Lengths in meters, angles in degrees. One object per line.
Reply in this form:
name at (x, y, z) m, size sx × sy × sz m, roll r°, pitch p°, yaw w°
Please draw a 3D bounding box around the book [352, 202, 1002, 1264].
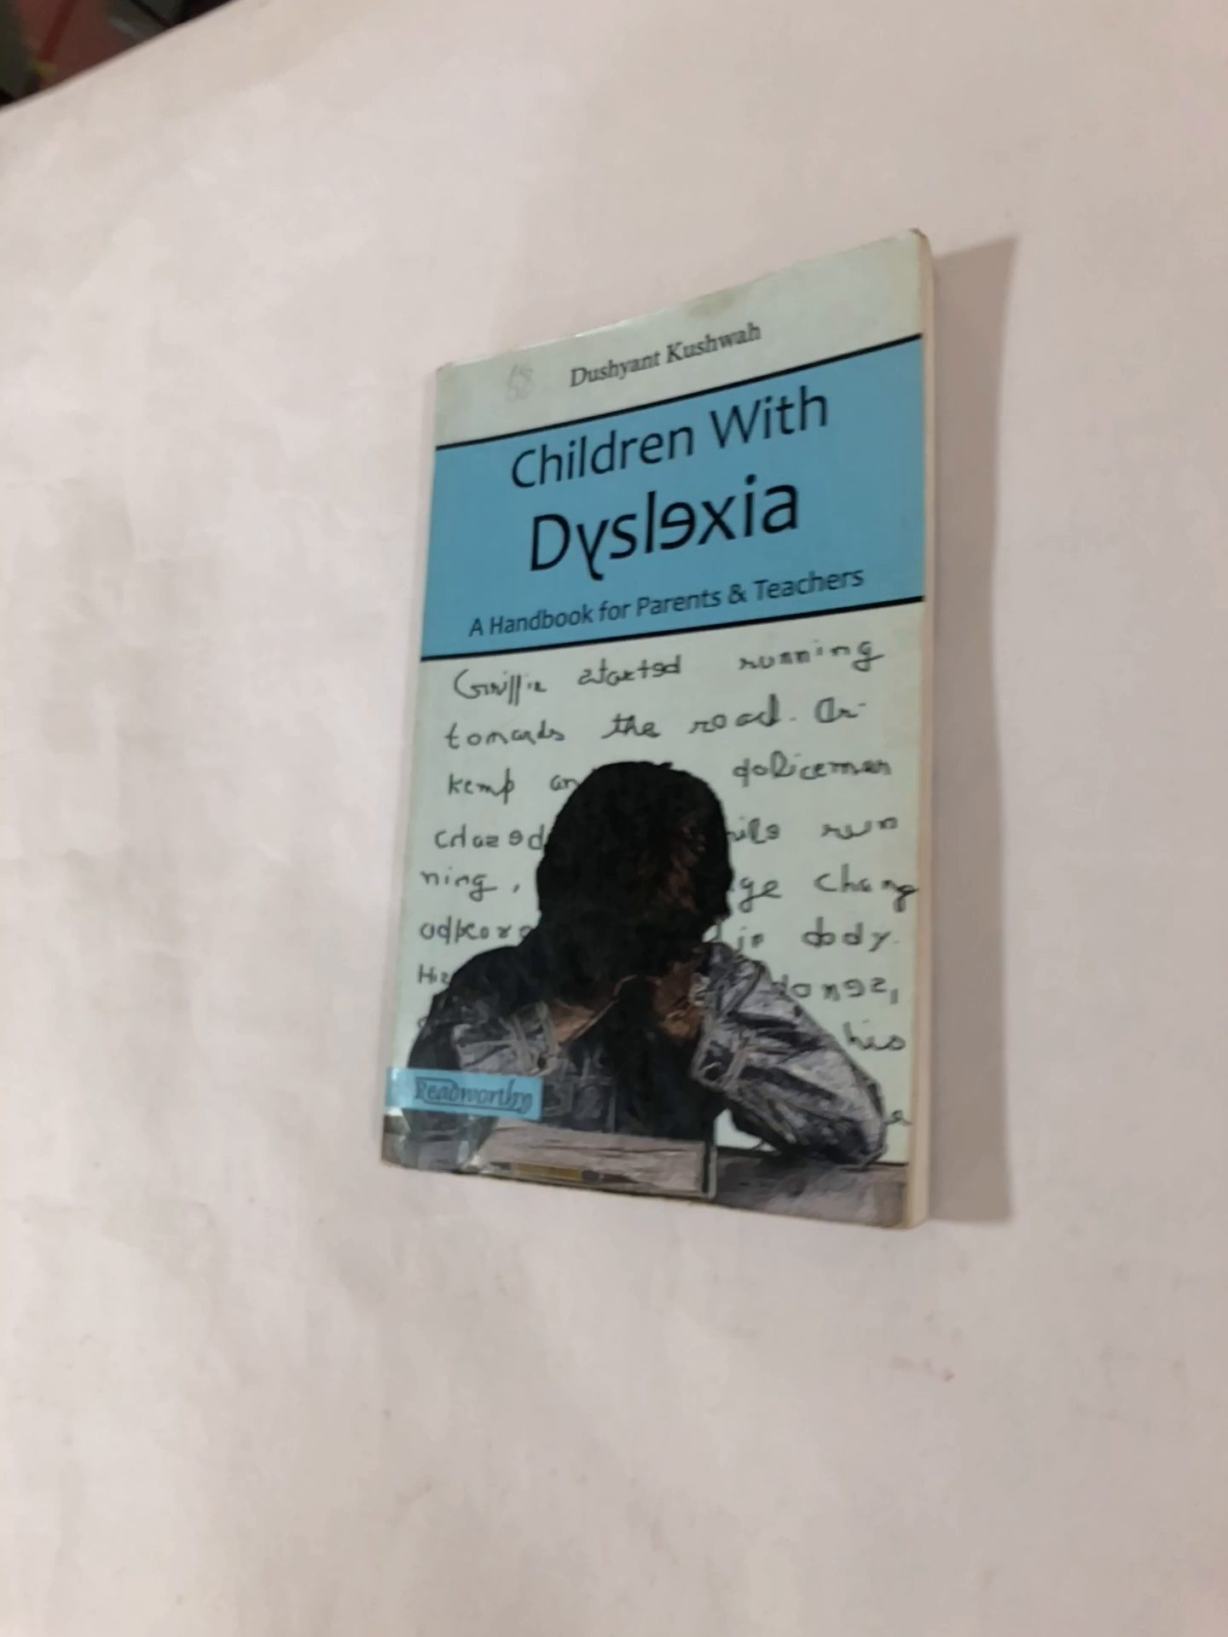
book at (0.013, -0.018, 0.329) m, size 0.151 × 0.030 × 0.220 m, roll -4°, pitch 78°, yaw 31°
